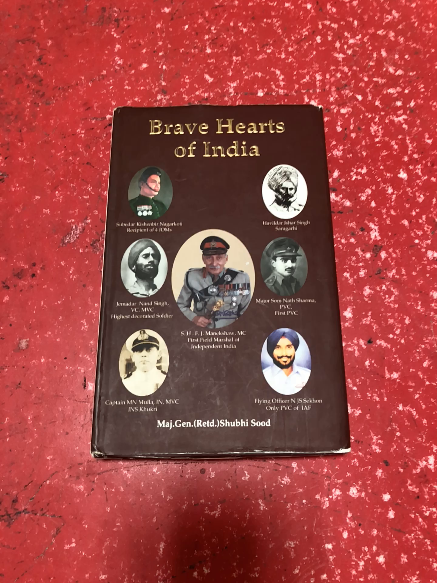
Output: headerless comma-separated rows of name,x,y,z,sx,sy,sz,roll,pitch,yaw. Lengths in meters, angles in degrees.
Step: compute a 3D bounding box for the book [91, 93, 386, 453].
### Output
book,0.010,-0.018,0.297,0.150,0.030,0.220,-1,72,1
